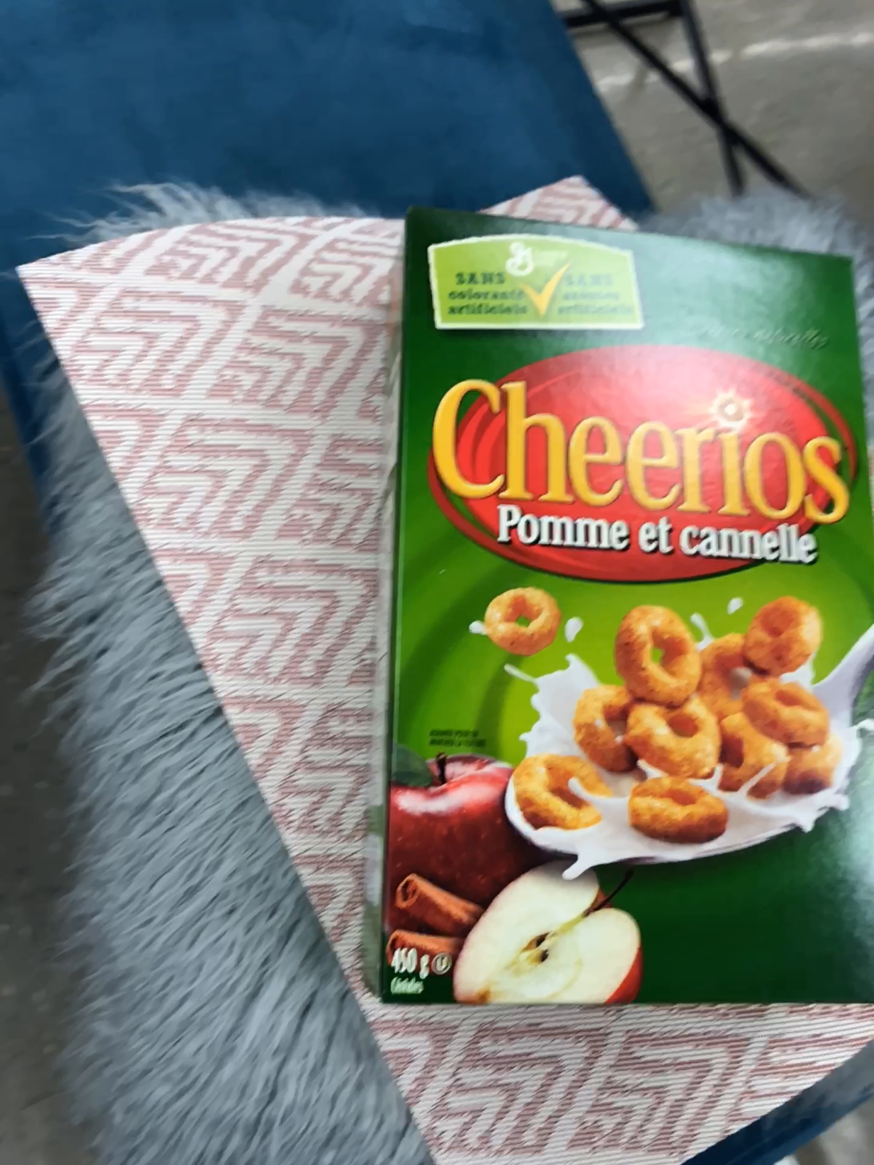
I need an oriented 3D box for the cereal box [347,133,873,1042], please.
[{"bbox_3d":[0.079,0.000,0.383,0.210,0.070,0.310,4,79,-12],"label":"cereal box"}]
